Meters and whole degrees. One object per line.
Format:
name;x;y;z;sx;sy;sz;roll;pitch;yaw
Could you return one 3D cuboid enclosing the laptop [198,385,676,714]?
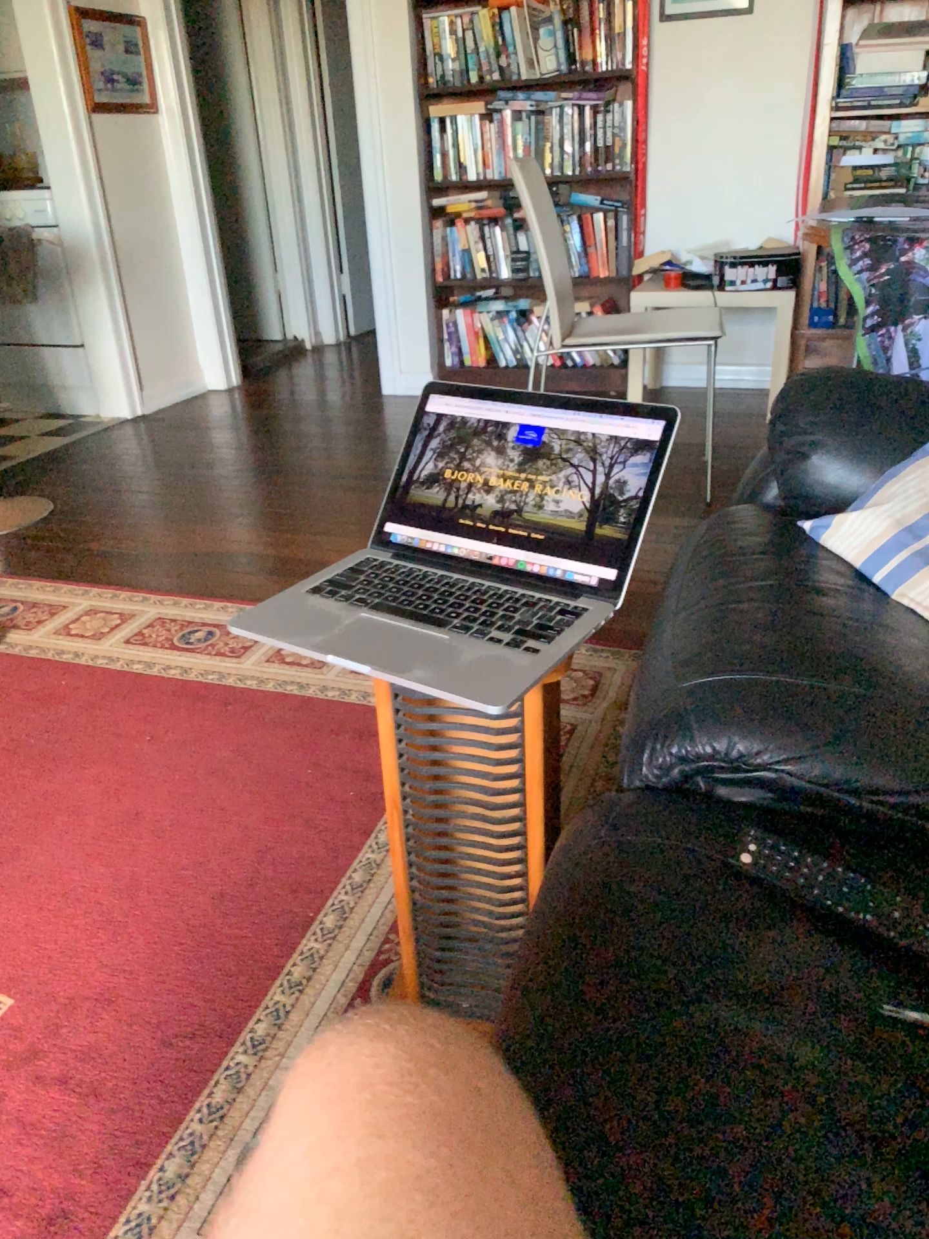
laptop;-0.010;-0.098;0.919;0.313;0.161;0.341;15;31;32
